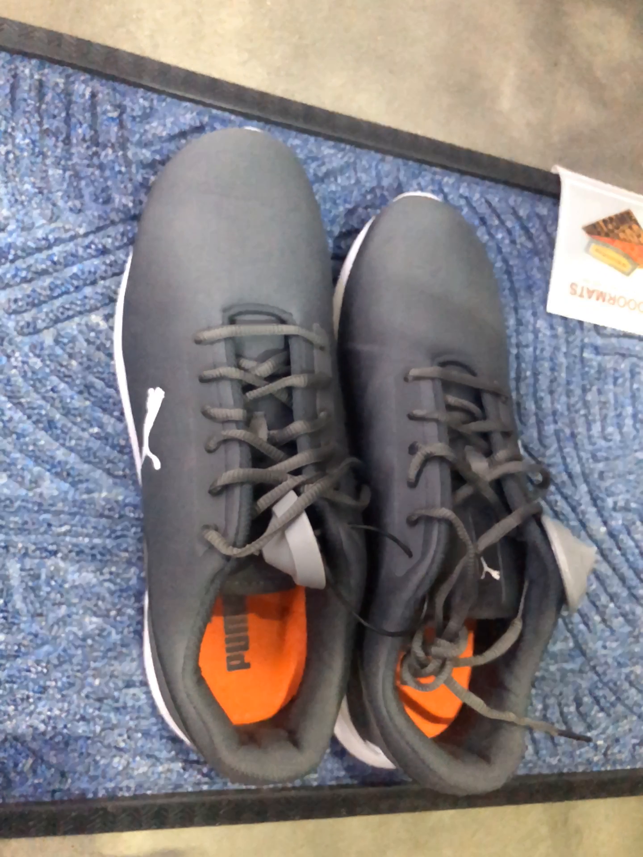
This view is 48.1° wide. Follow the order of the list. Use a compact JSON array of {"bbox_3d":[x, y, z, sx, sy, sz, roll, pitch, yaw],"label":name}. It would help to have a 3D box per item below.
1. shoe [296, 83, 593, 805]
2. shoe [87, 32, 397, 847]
[{"bbox_3d":[0.058,0.007,0.362,0.100,0.100,0.300,4,86,-19],"label":"shoe"},{"bbox_3d":[-0.041,0.004,0.330,0.110,0.100,0.300,3,86,-19],"label":"shoe"}]
